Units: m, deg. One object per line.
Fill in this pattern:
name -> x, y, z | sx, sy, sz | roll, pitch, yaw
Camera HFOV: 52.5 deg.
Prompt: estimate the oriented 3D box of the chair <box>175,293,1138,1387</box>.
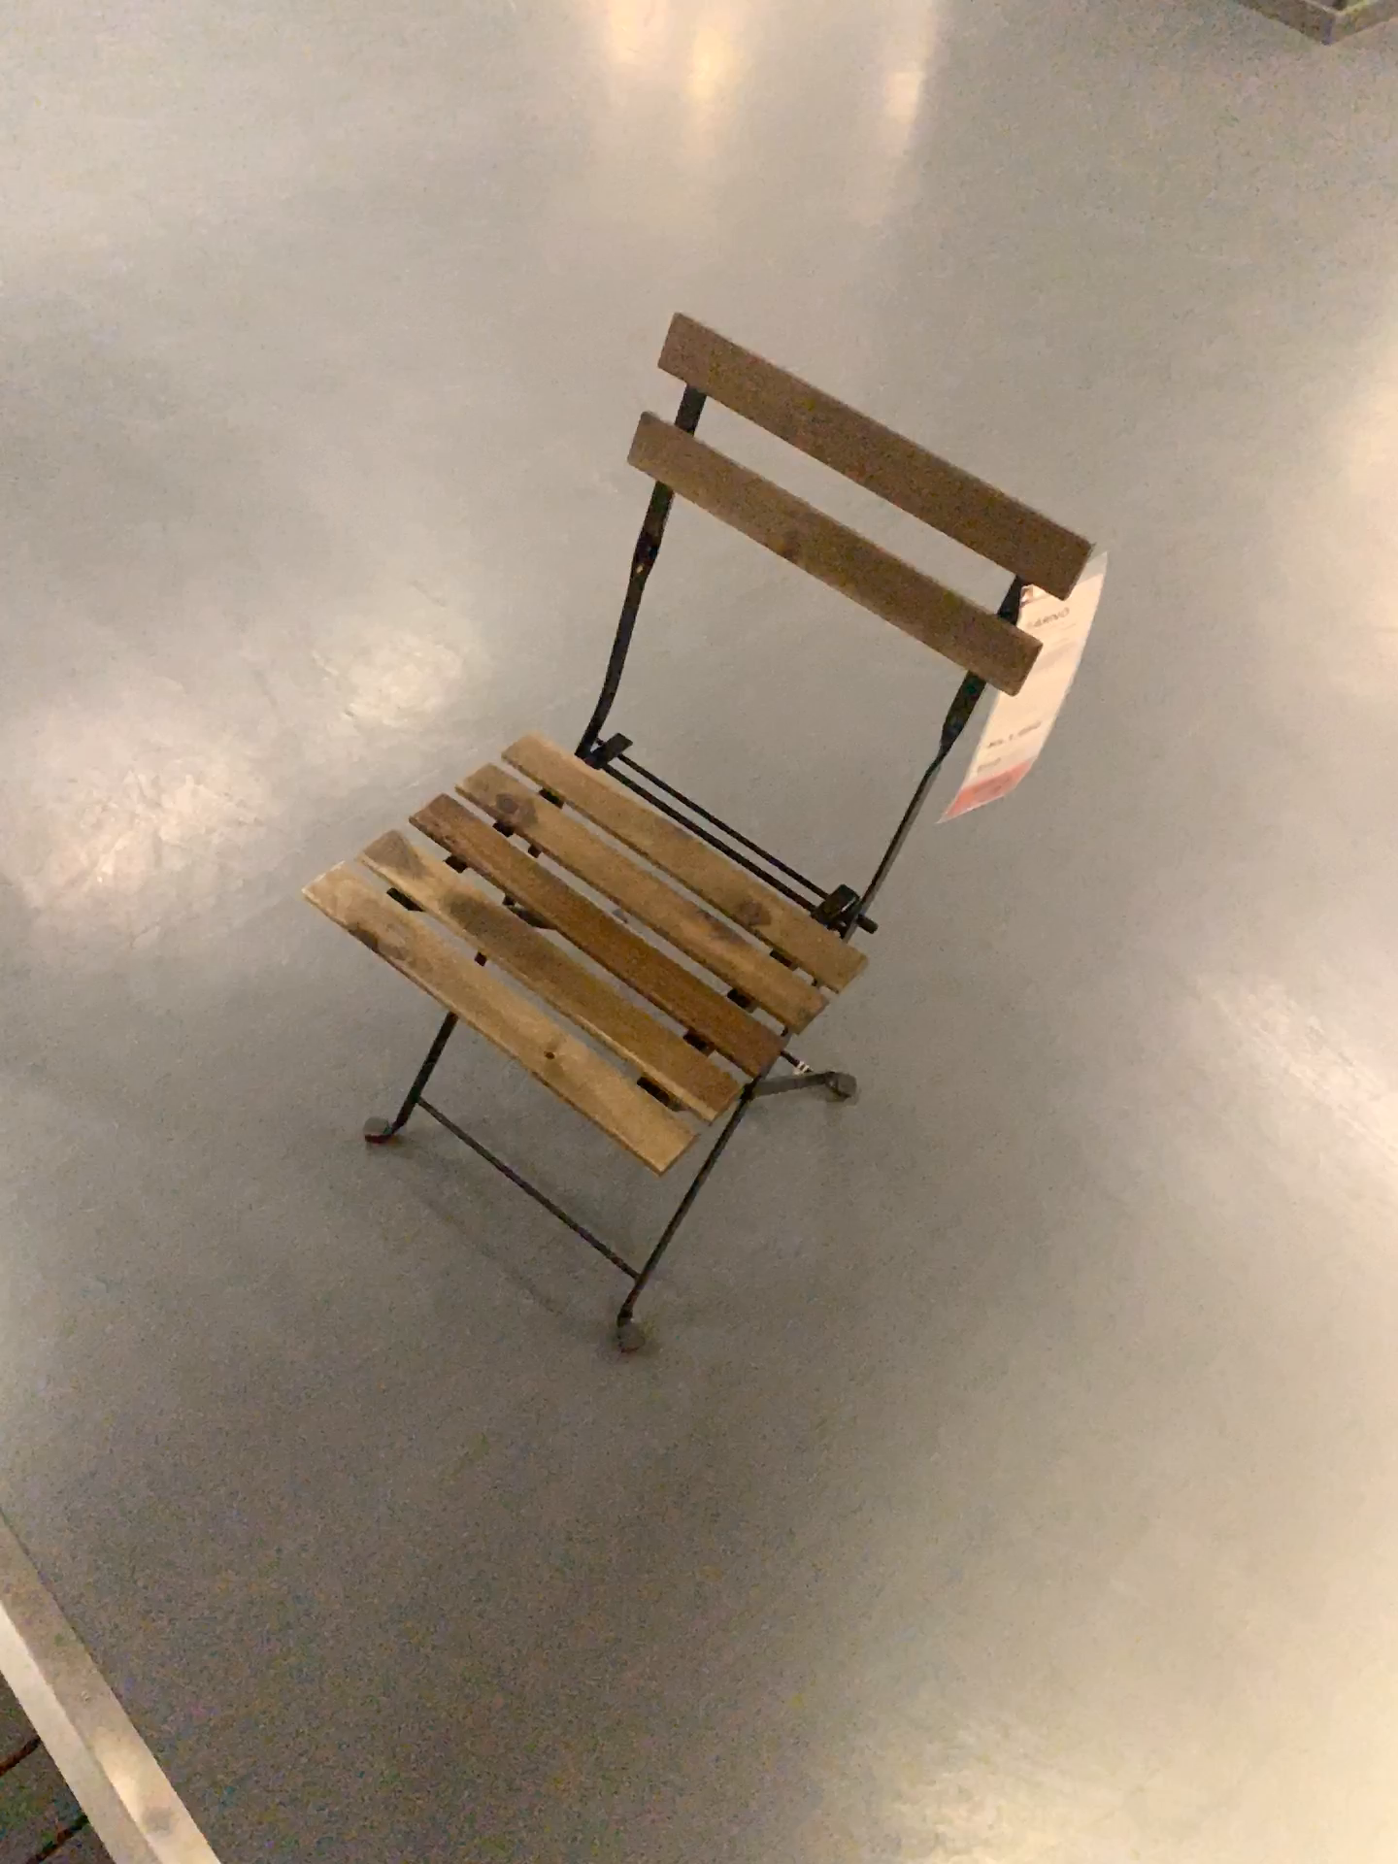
chair -> -0.040, -0.044, 1.229 | 0.420, 0.698, 0.501 | 36, 59, 18
